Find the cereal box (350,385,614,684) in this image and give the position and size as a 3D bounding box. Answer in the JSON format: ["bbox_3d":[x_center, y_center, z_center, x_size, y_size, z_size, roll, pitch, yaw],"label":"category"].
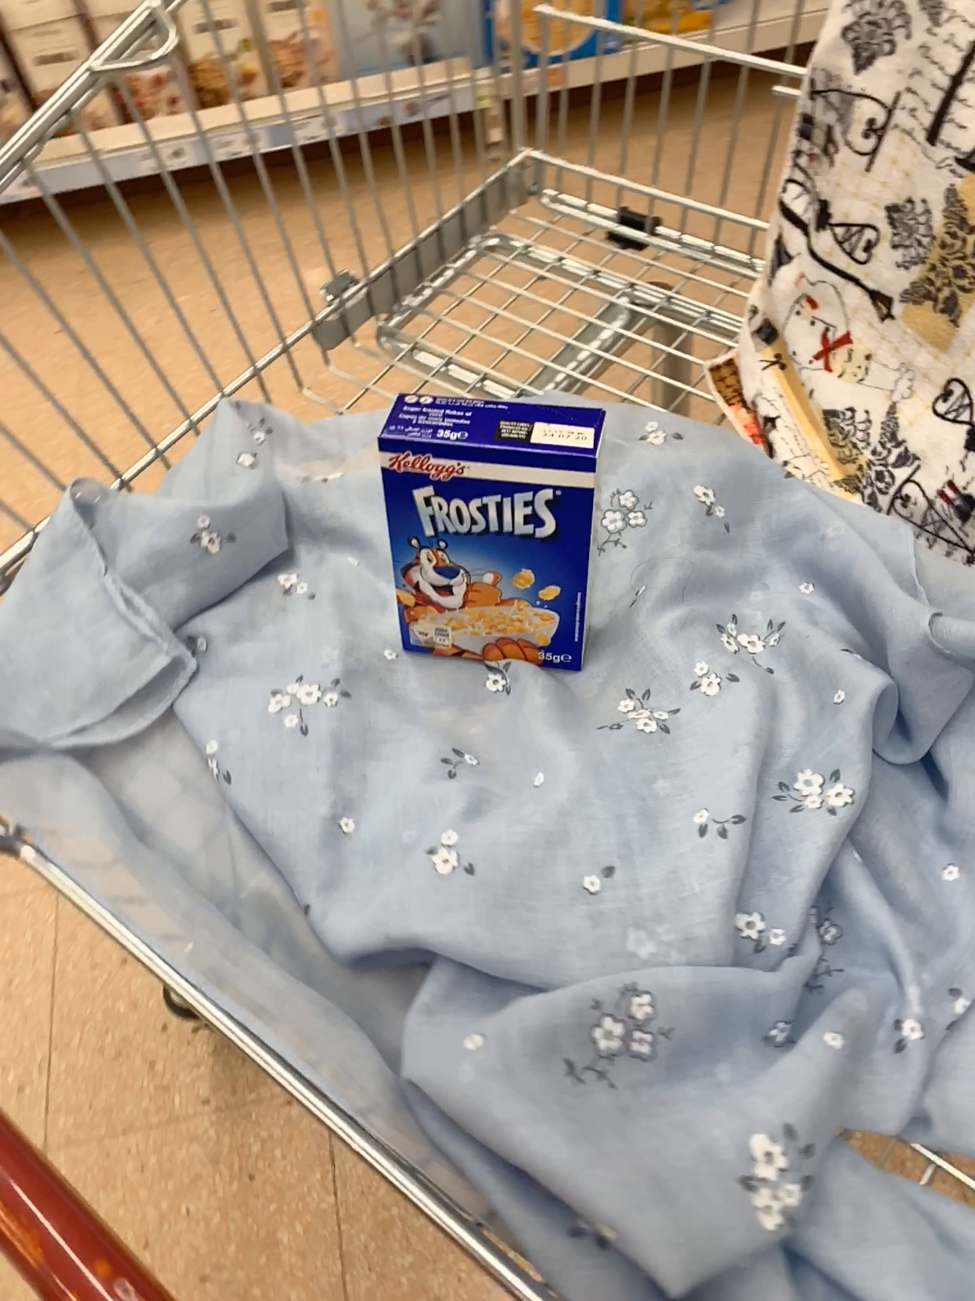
[{"bbox_3d":[0.002,-0.048,0.447,0.100,0.129,0.040,7,48,10],"label":"cereal box"}]
